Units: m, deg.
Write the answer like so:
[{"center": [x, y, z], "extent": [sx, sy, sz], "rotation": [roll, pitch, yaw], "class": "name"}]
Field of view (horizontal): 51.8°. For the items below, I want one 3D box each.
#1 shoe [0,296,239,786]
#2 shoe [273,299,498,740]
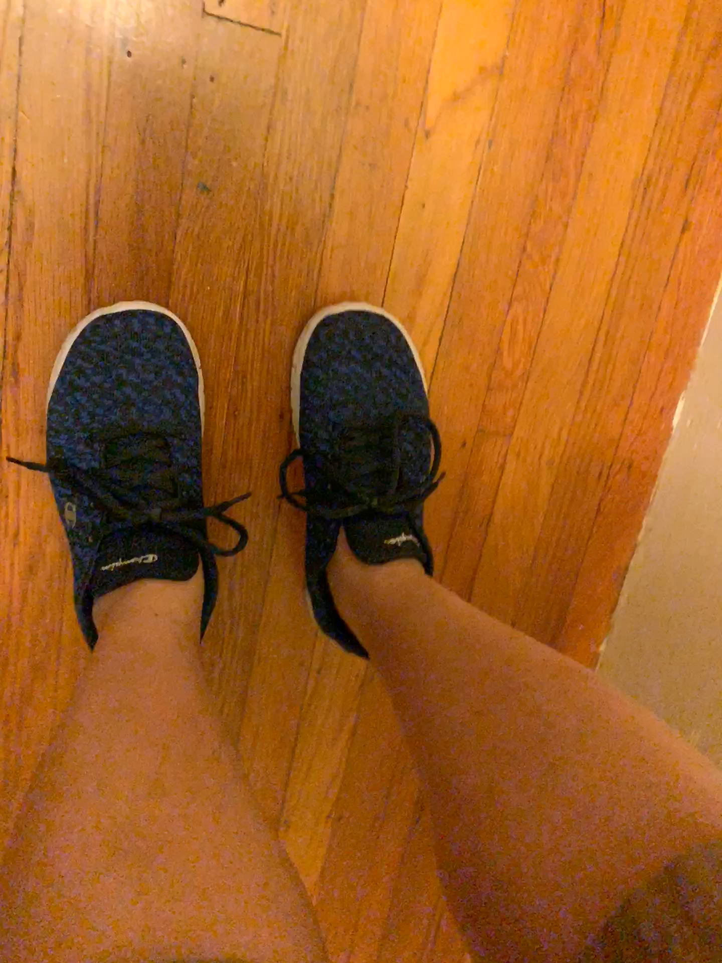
[{"center": [-0.154, 0.029, 0.508], "extent": [0.115, 0.150, 0.291], "rotation": [-4, 110, -14], "class": "shoe"}, {"center": [0.012, 0.020, 0.540], "extent": [0.117, 0.130, 0.281], "rotation": [-6, 110, -13], "class": "shoe"}]
